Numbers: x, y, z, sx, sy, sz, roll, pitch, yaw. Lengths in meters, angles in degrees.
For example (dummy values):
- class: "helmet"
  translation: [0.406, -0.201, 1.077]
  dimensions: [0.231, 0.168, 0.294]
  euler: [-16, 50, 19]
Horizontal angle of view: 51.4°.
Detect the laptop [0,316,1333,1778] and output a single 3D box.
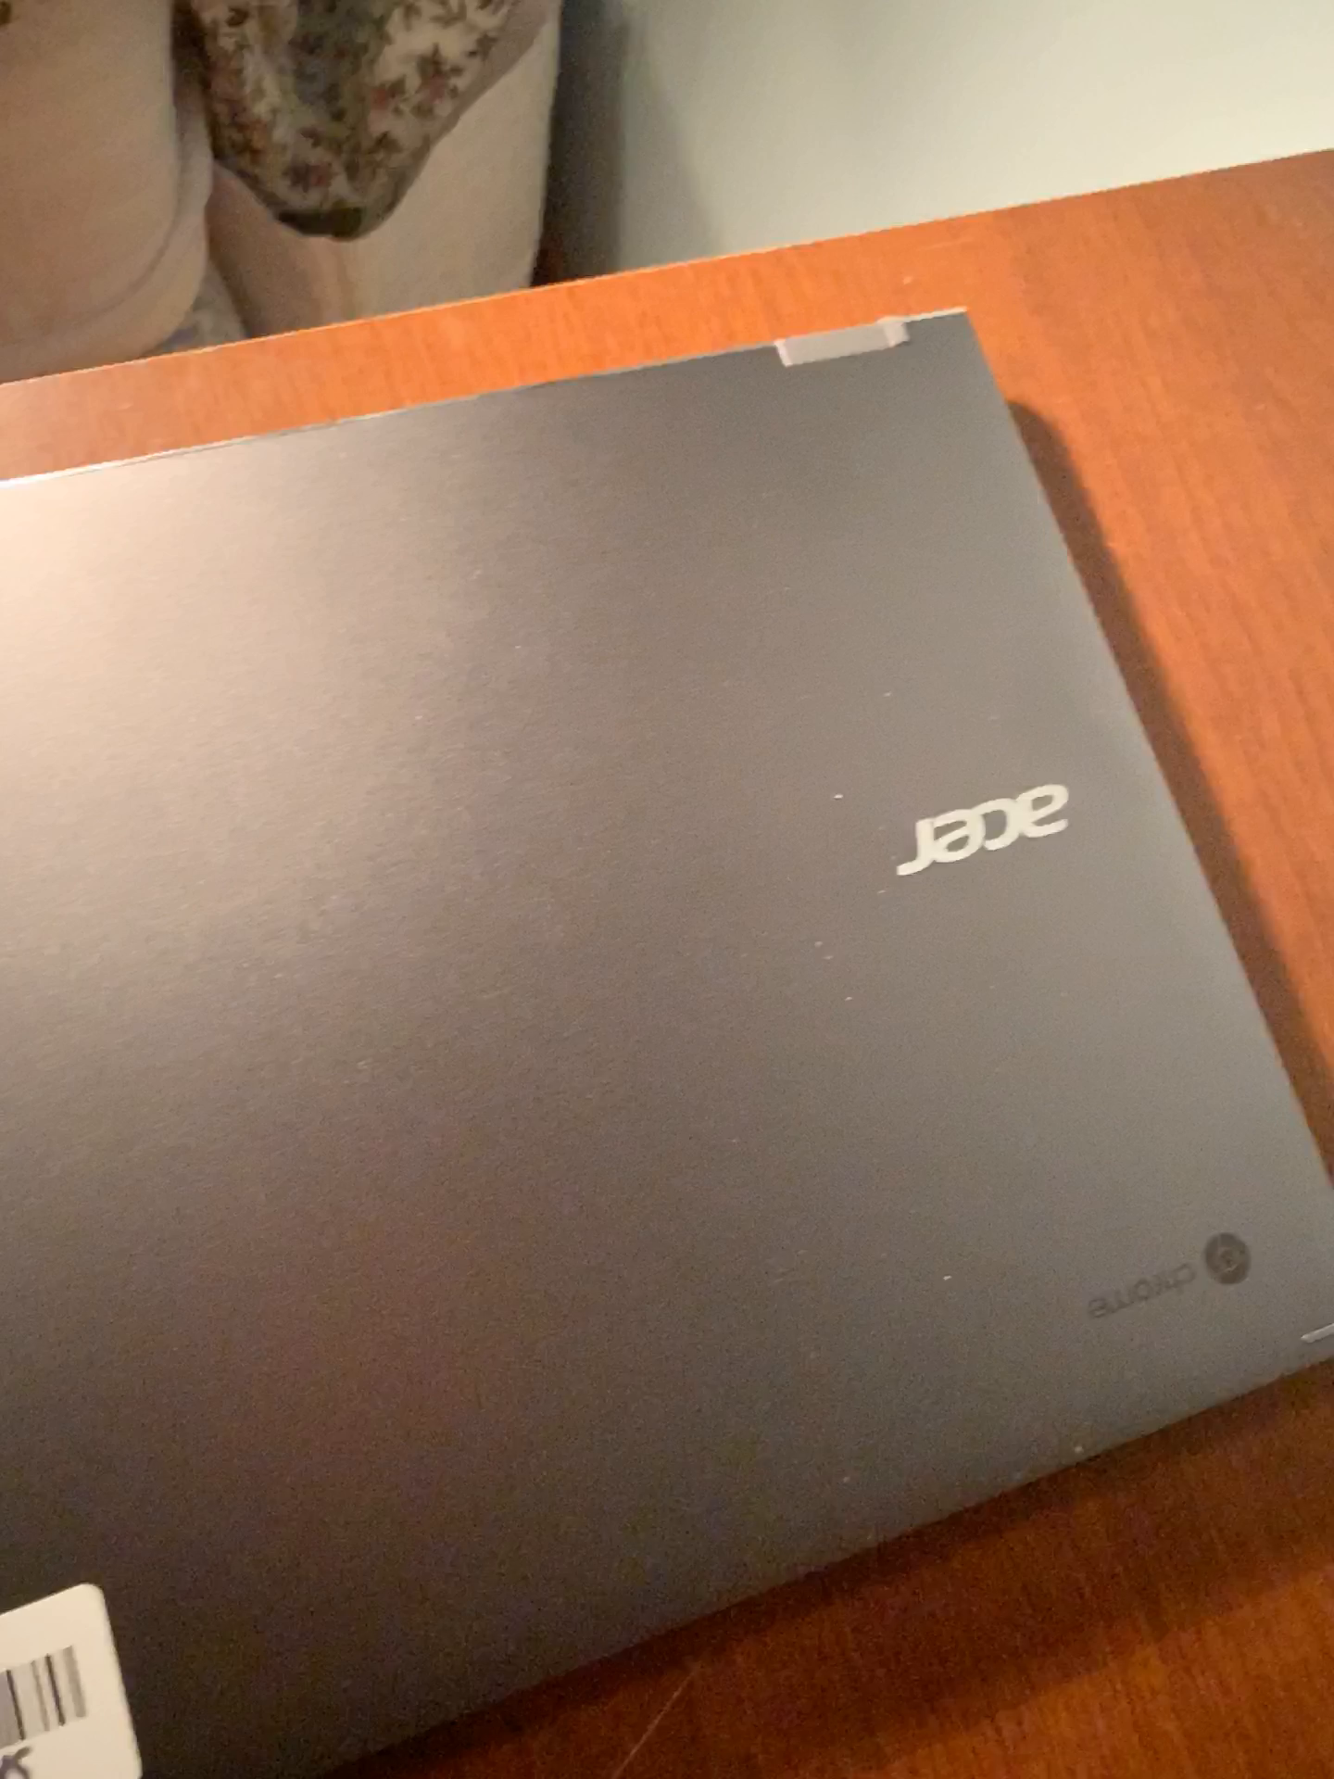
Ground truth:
- class: "laptop"
  translation: [-0.036, 0.015, 0.256]
  dimensions: [0.299, 0.002, 0.232]
  euler: [-15, 77, -14]
